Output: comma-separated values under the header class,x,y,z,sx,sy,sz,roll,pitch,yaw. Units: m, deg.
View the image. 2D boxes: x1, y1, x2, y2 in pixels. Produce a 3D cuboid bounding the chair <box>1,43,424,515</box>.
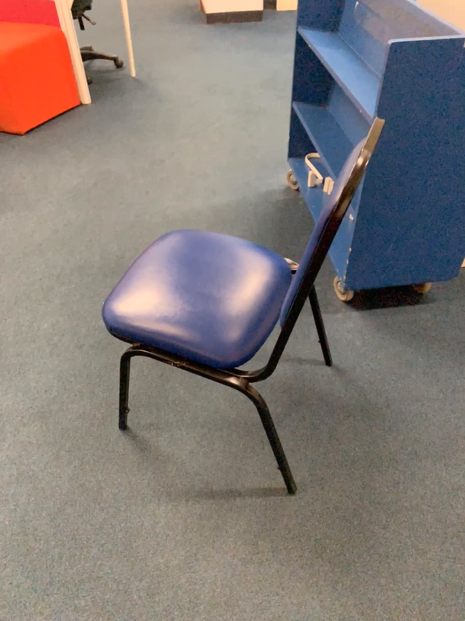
class,x,y,z,sx,sy,sz,roll,pitch,yaw
chair,0.018,-0.058,1.161,0.581,0.881,0.565,16,47,17
